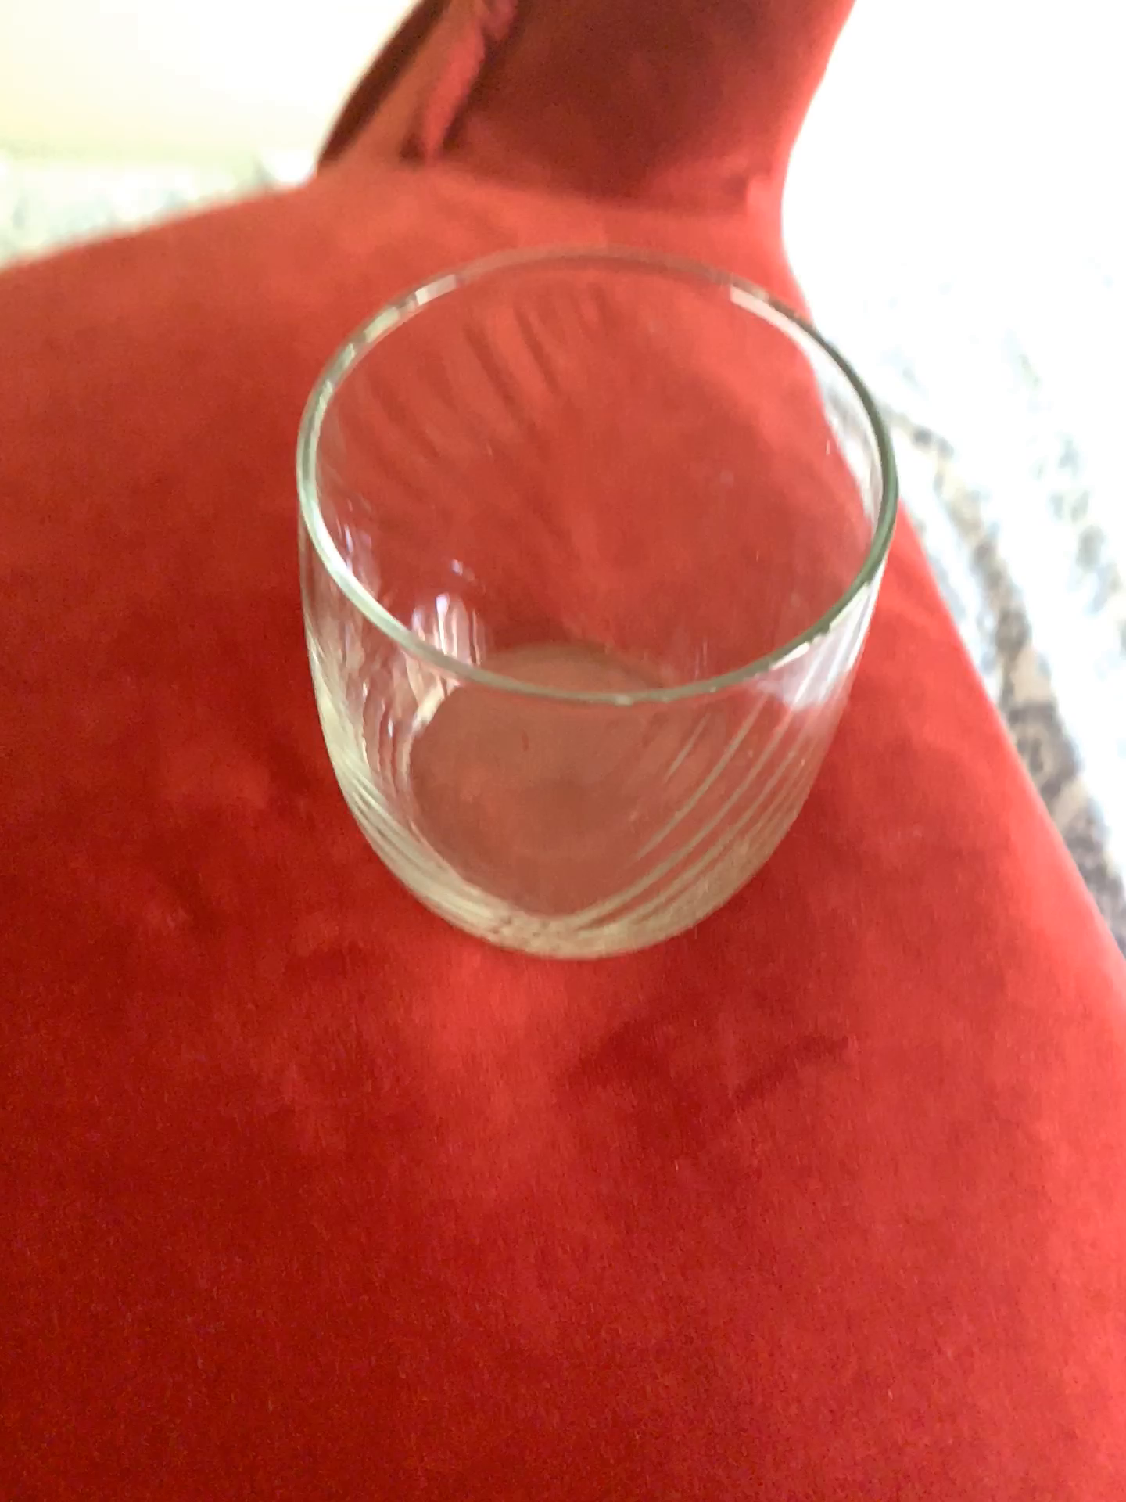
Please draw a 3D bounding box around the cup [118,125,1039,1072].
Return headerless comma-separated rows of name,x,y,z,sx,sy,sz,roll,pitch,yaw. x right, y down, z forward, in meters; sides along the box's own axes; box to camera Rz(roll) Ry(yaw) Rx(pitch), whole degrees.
cup,0.006,-0.017,0.171,0.080,0.090,0.080,0,61,0
